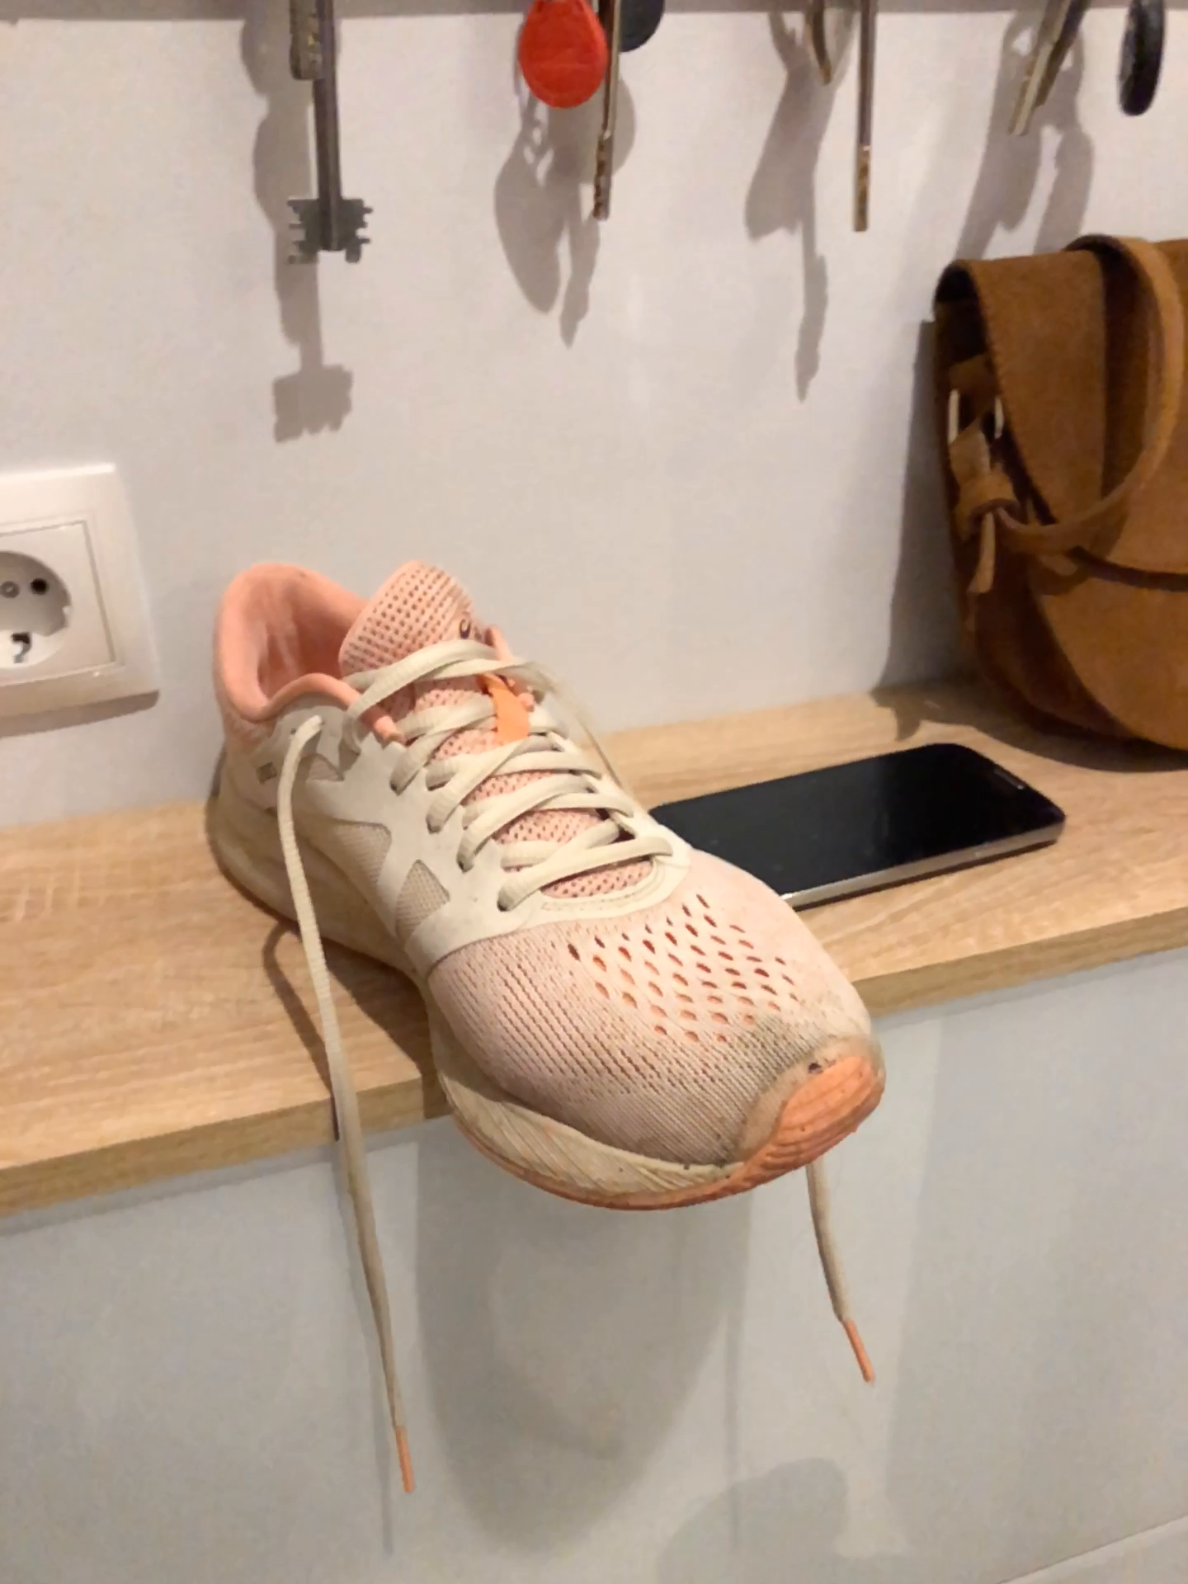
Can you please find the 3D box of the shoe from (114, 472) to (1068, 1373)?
[{"bbox_3d":[-0.025,0.002,0.361,0.110,0.103,0.269,-20,34,-30],"label":"shoe"}]
